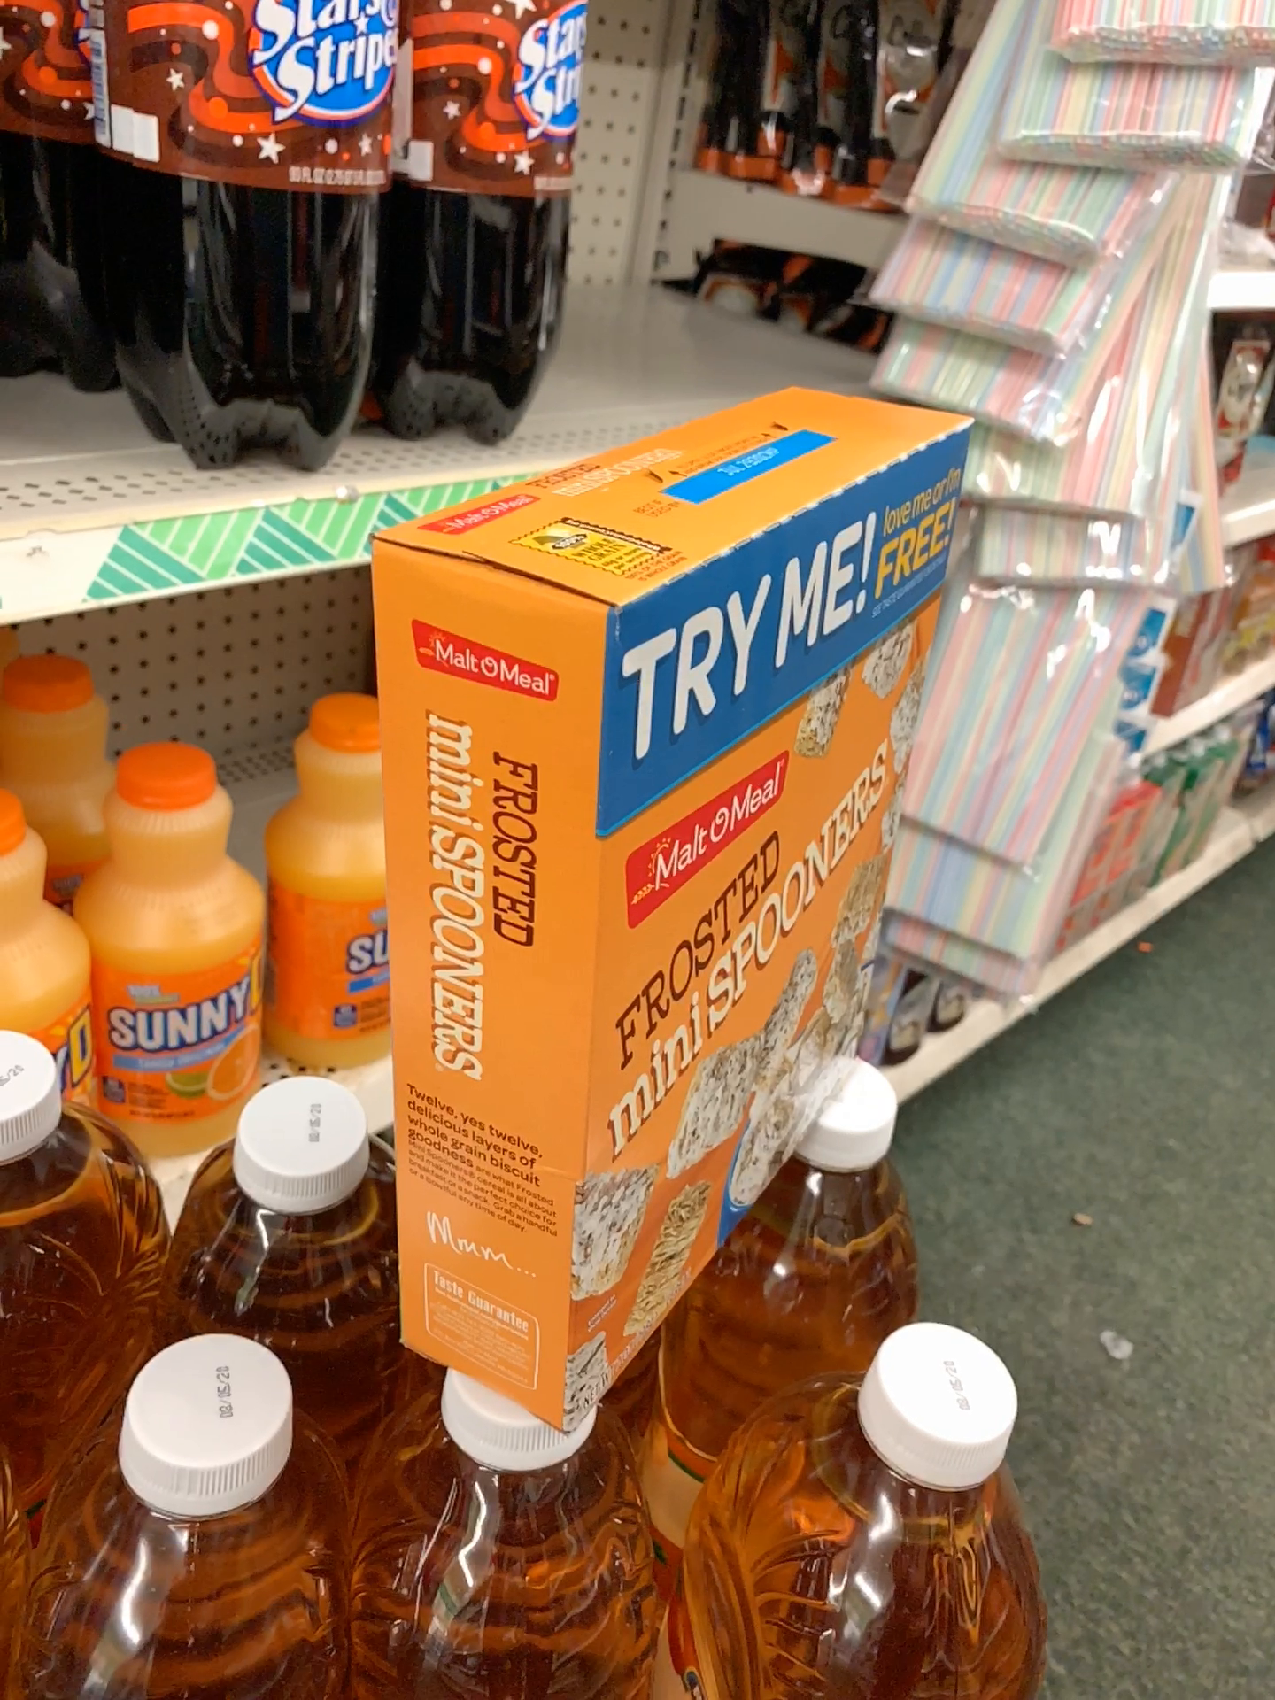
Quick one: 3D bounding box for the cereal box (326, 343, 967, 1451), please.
[{"bbox_3d":[0.008,0.000,0.330,0.060,0.219,0.171,18,31,24],"label":"cereal box"}]
